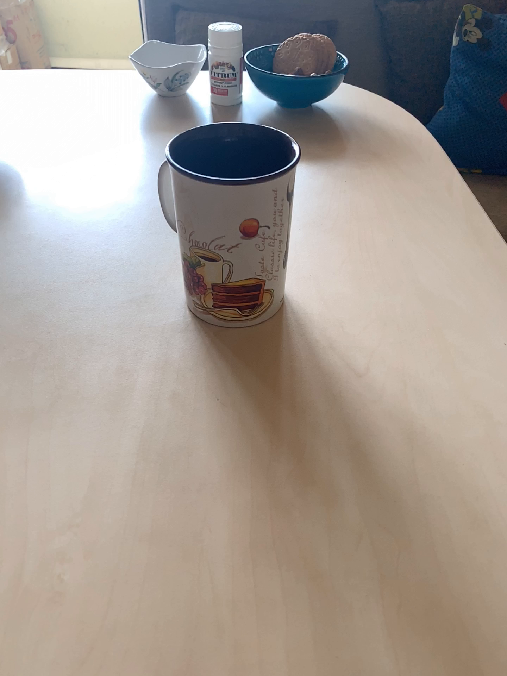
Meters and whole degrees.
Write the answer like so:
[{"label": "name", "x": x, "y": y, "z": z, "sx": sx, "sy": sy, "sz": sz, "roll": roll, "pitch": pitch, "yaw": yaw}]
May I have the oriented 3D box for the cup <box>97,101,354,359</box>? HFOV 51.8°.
[{"label": "cup", "x": -0.019, "y": -0.078, "z": 0.357, "sx": 0.130, "sy": 0.110, "sz": 0.090, "roll": 28, "pitch": 49, "yaw": 26}]
